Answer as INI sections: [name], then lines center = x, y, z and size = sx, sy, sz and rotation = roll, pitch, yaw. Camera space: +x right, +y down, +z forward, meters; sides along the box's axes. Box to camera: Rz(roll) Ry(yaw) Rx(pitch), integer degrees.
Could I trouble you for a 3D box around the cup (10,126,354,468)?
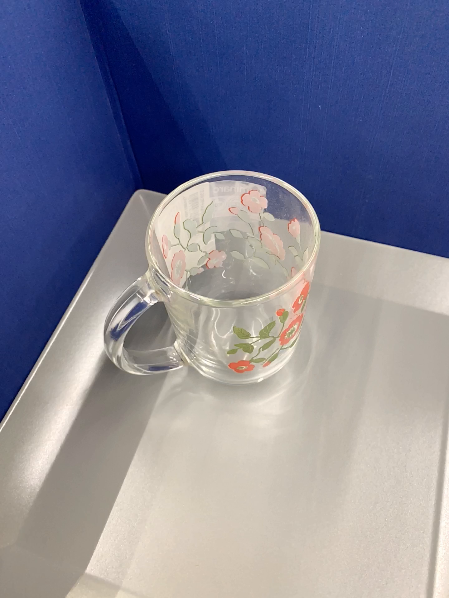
[cup]
center = -0.017, 0.001, 0.237
size = 0.114, 0.104, 0.088
rotation = -32, 60, -16
